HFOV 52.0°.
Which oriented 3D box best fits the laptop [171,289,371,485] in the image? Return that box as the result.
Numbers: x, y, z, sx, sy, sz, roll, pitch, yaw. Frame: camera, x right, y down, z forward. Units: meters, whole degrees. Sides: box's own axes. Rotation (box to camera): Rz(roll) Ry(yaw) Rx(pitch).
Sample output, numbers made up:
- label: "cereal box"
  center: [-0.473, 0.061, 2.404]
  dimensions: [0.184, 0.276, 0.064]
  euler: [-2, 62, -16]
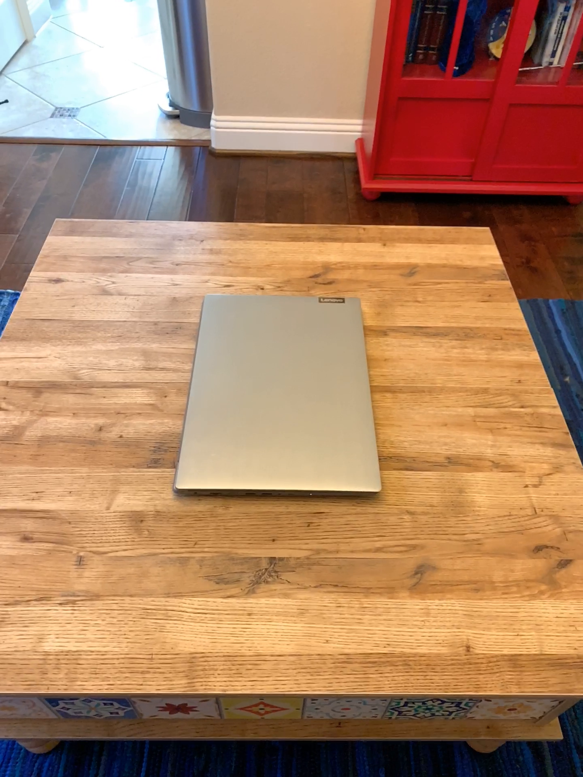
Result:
- label: "laptop"
  center: [-0.024, -0.020, 0.829]
  dimensions: [0.237, 0.011, 0.348]
  euler: [0, 49, 1]
